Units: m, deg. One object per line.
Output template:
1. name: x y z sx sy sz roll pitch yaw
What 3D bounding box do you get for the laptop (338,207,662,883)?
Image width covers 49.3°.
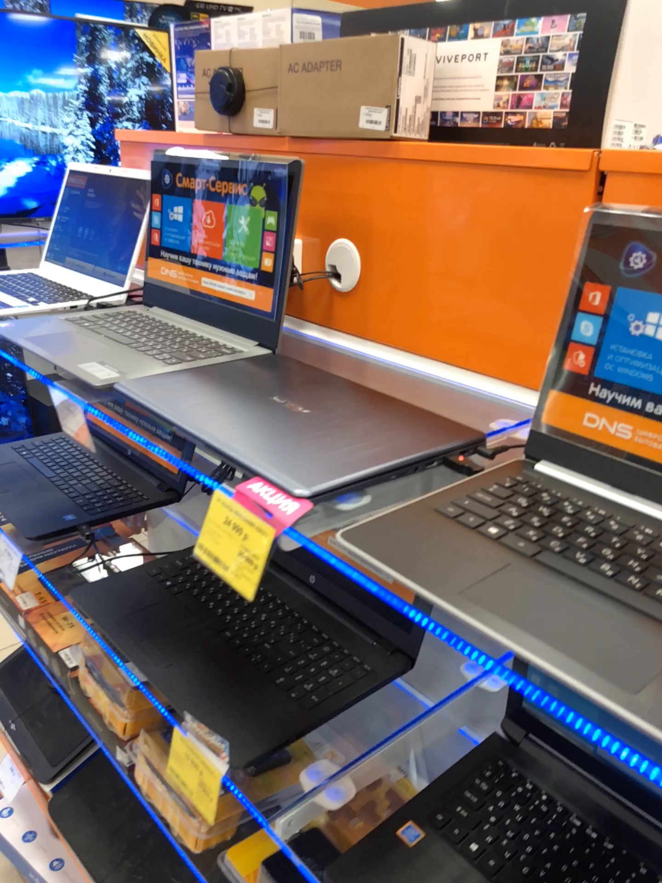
1. laptop: 0.219 -0.009 0.421 0.272 0.205 0.337 -17 30 -39

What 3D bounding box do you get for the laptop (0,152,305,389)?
1. laptop: -0.255 -0.247 0.933 0.289 0.224 0.354 -17 29 -39

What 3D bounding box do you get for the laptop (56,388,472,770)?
1. laptop: -0.091 0.116 0.869 0.313 0.227 0.377 -16 27 -38

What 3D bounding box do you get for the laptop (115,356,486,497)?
1. laptop: -0.044 -0.032 0.715 0.214 0.001 0.325 -16 28 -37
